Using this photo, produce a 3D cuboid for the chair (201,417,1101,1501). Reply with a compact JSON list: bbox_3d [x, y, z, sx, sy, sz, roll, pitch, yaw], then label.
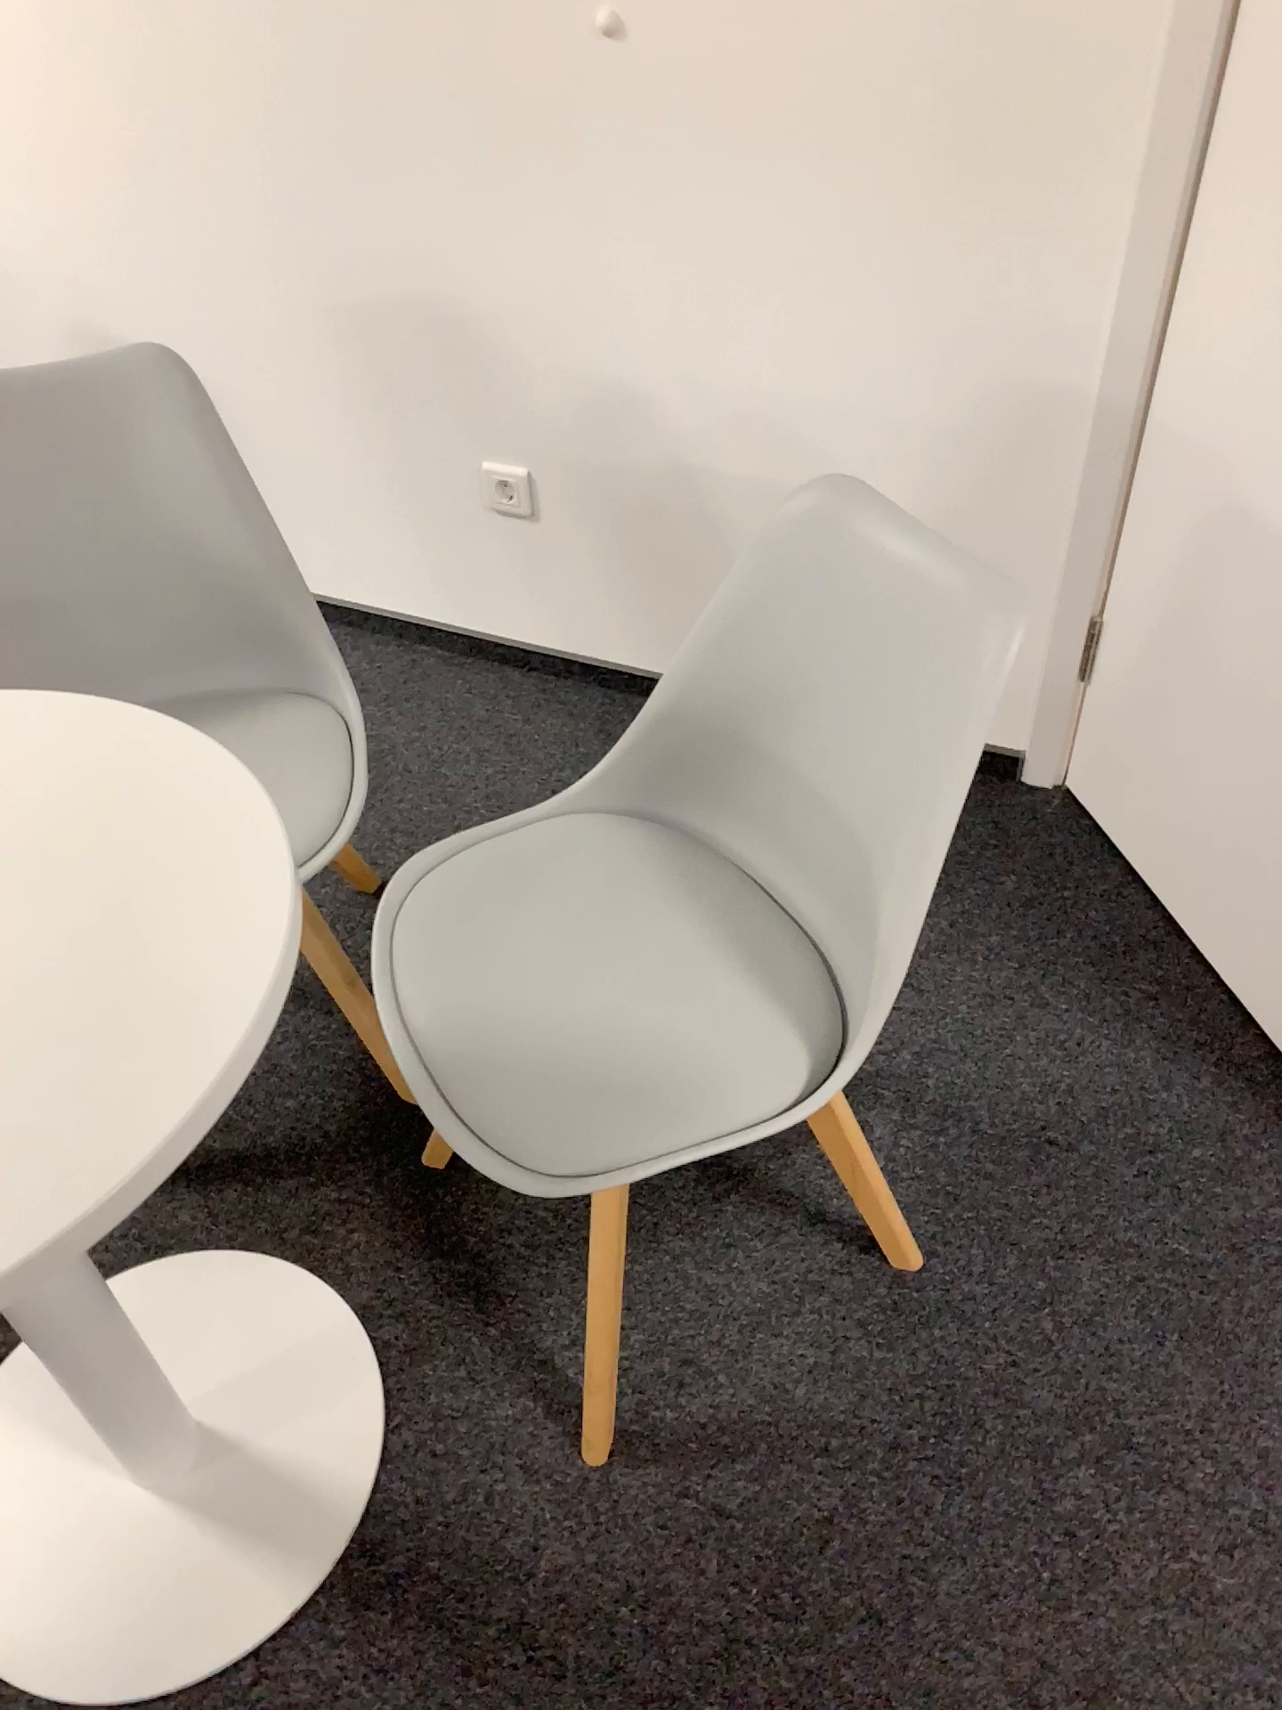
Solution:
[{"bbox_3d":[0.005,0.116,1.242,0.522,0.810,0.445,-22,45,-18],"label":"chair"}]
